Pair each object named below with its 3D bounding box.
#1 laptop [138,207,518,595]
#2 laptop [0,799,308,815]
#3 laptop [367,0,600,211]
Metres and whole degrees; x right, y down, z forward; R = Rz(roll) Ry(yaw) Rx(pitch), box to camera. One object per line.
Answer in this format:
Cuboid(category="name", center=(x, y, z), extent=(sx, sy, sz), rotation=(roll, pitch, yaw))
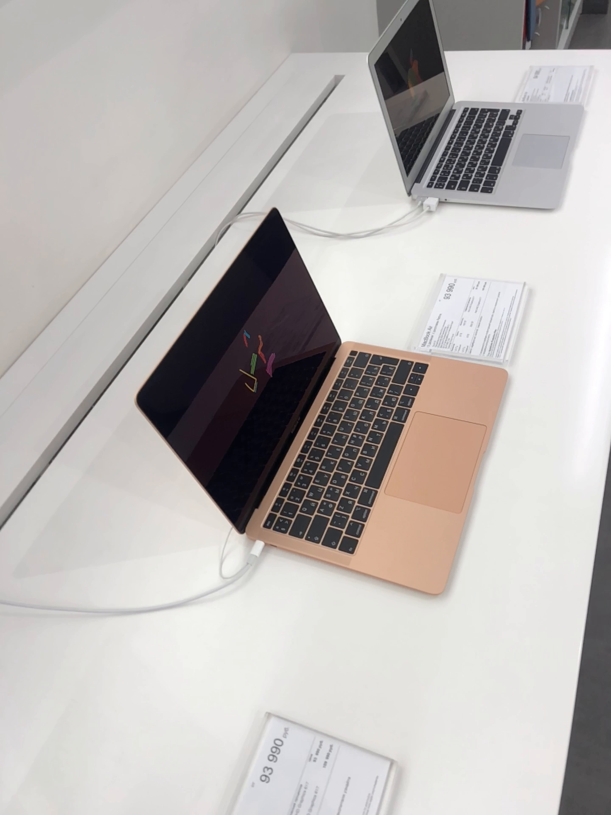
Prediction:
Cuboid(category="laptop", center=(0.047, -0.026, 0.681), extent=(0.264, 0.188, 0.298), rotation=(12, 52, 21))
Cuboid(category="laptop", center=(-0.180, 0.423, 0.312), extent=(0.248, 0.204, 0.295), rotation=(13, 52, 21))
Cuboid(category="laptop", center=(0.294, -0.518, 1.077), extent=(0.283, 0.209, 0.365), rotation=(11, 50, 21))
